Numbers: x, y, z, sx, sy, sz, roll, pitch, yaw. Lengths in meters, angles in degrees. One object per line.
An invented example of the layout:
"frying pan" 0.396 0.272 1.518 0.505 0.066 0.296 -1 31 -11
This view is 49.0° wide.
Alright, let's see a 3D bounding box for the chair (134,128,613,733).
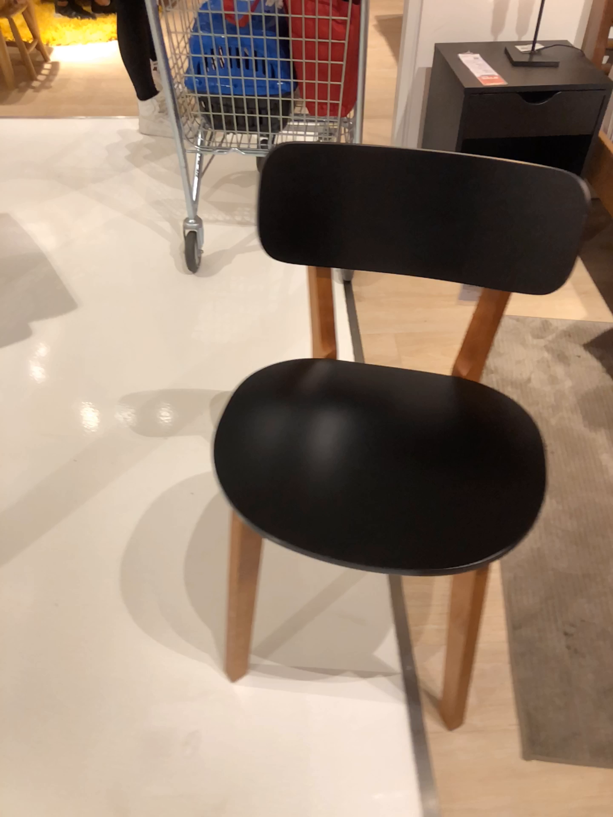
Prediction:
"chair" 0.112 0.054 0.993 0.460 0.705 0.484 8 45 7
